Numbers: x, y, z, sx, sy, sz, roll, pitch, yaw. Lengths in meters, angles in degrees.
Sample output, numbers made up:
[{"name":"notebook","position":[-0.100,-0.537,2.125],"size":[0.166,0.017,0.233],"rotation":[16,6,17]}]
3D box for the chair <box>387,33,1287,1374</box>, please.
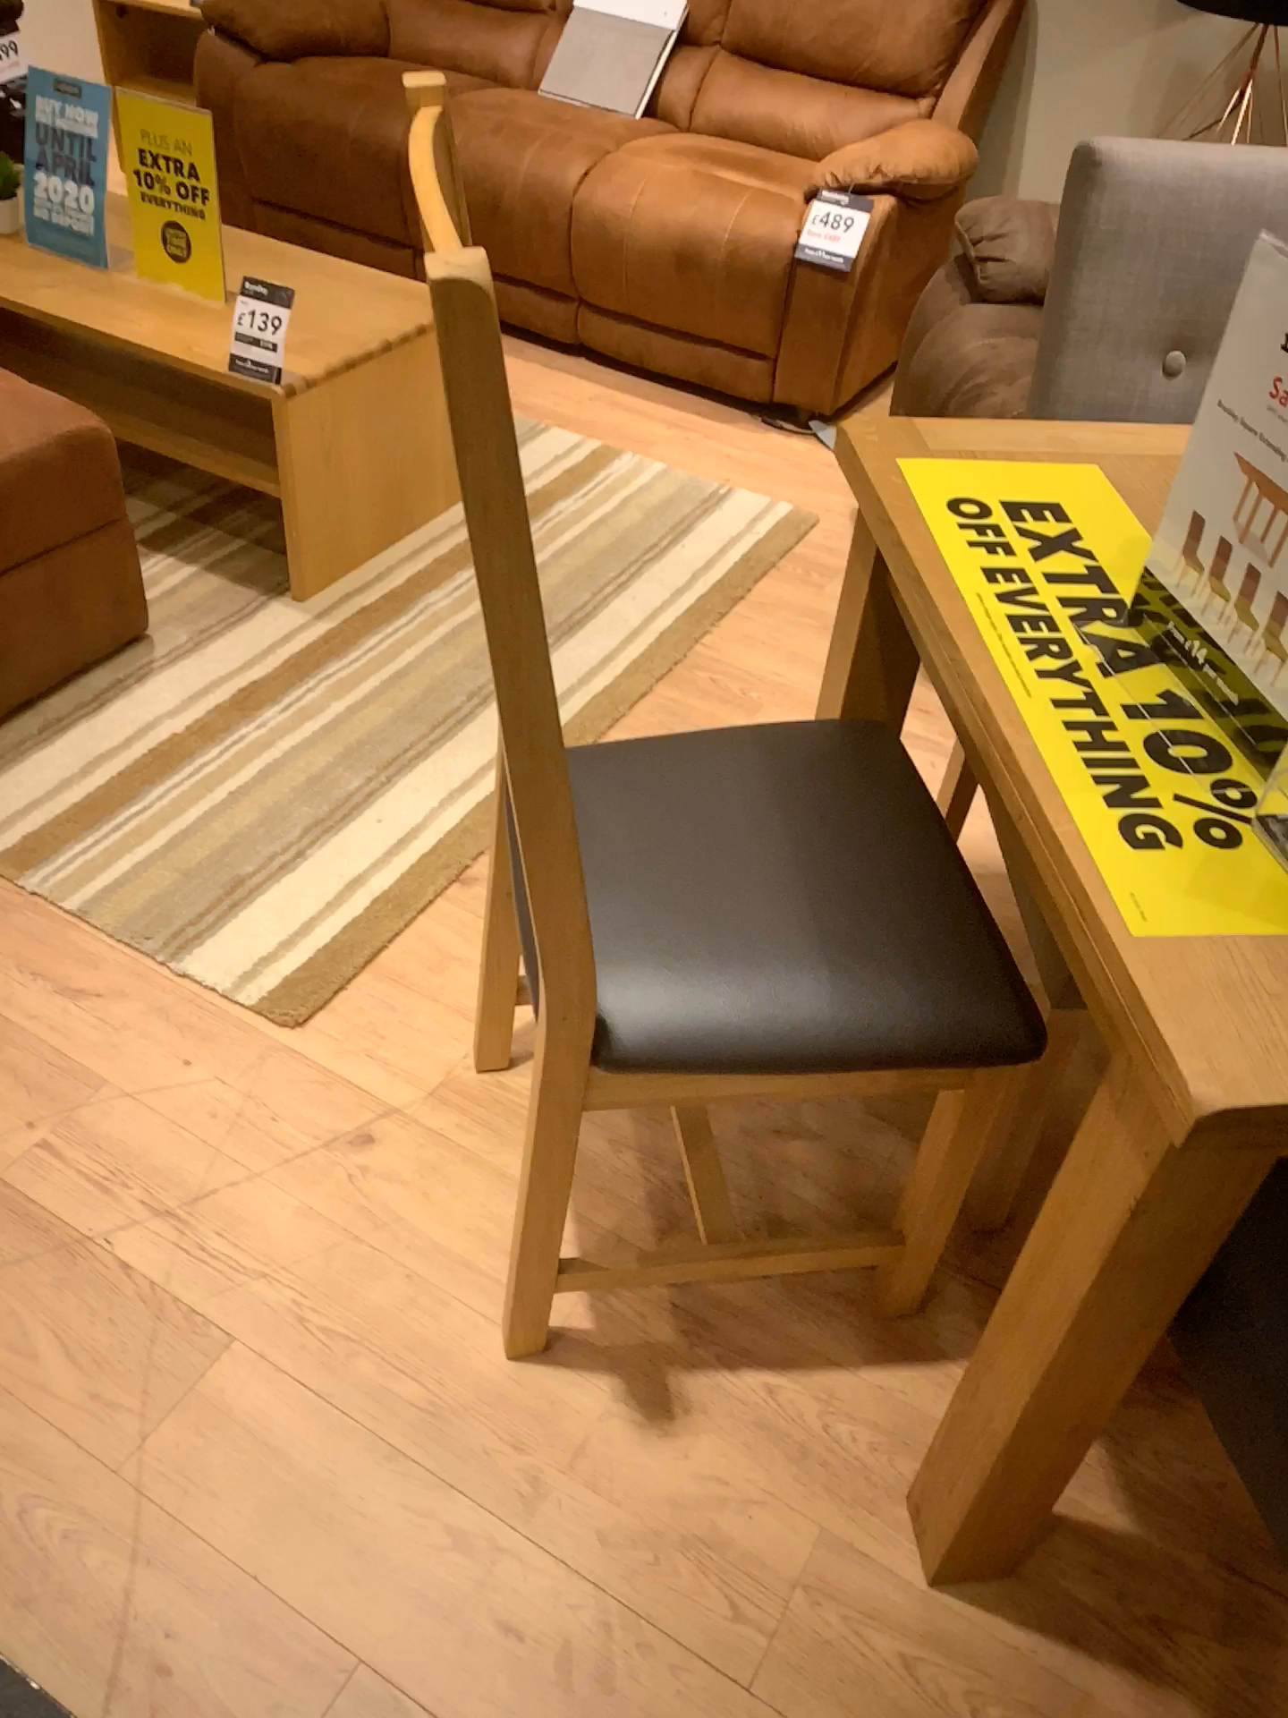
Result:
[{"name":"chair","position":[0.103,-0.083,1.138],"size":[0.577,0.958,0.560],"rotation":[-4,44,-12]}]
